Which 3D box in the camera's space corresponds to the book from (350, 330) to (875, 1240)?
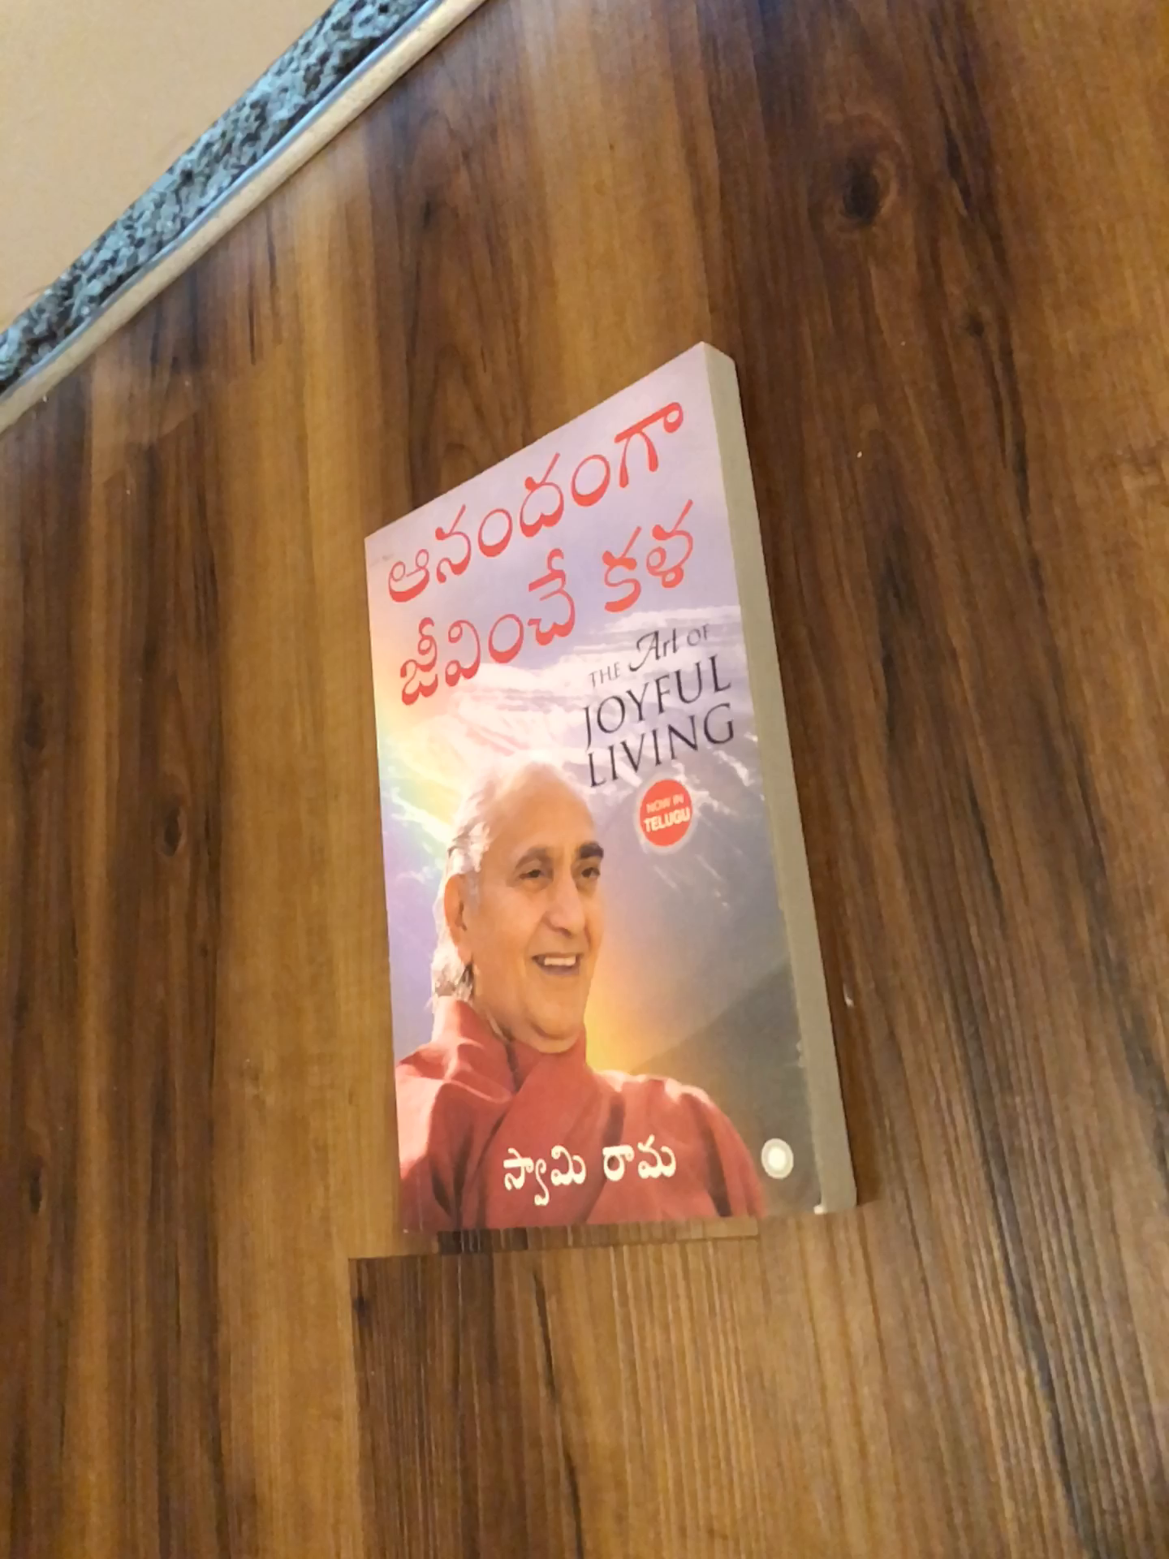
[{"bbox_3d":[-0.006,0.009,0.357,0.145,0.020,0.219,-19,71,40],"label":"book"}]
